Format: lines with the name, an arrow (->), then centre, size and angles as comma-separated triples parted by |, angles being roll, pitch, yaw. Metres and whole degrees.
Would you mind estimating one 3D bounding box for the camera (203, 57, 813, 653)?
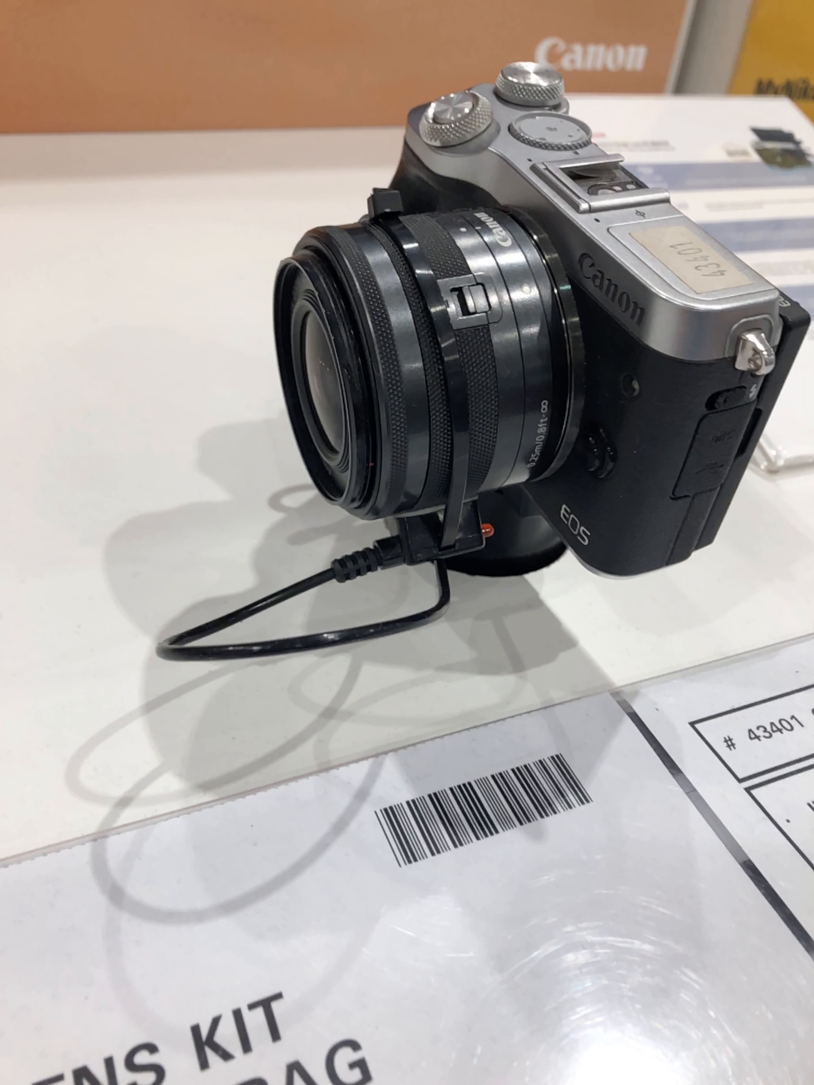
camera -> 0.011, -0.048, 0.201 | 0.083, 0.075, 0.103 | -13, 47, -19
